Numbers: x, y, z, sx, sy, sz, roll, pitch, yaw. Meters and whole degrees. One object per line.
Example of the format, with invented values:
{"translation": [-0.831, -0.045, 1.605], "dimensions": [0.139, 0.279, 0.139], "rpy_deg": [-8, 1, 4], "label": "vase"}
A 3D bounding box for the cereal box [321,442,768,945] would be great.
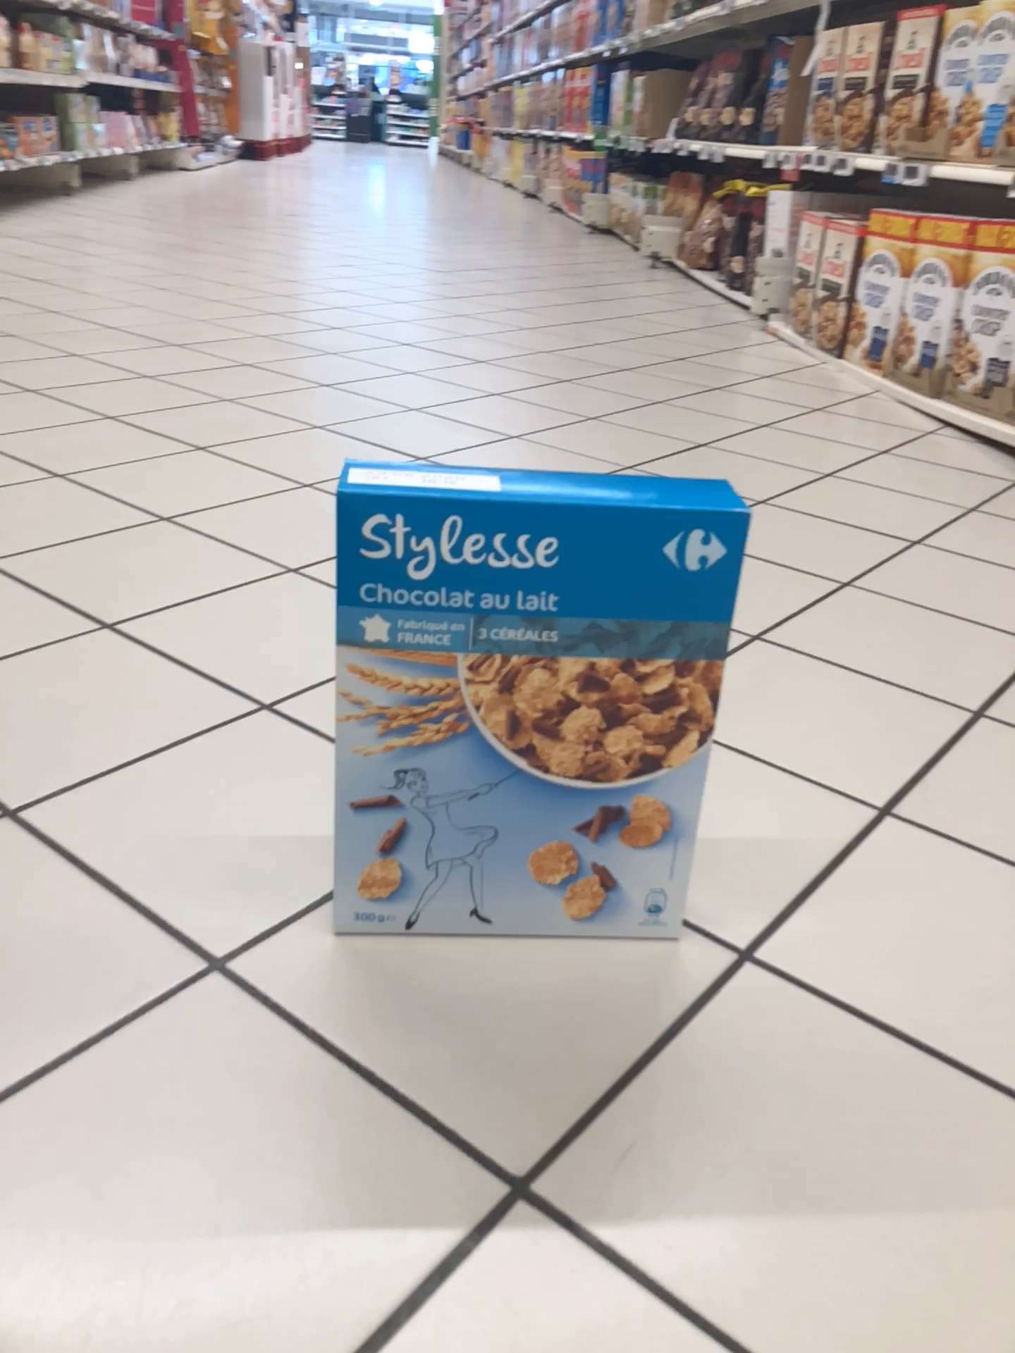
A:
{"translation": [0.007, 0.016, 0.580], "dimensions": [0.200, 0.249, 0.070], "rpy_deg": [2, 25, -5], "label": "cereal box"}
